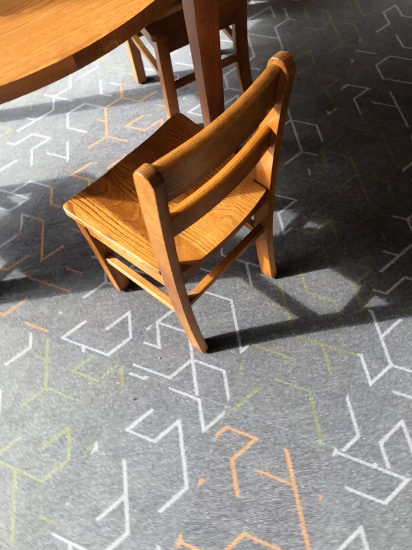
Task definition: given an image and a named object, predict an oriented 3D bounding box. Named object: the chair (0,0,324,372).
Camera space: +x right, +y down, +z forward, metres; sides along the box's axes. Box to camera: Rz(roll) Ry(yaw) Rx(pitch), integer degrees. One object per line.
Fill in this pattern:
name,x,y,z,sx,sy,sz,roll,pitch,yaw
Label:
chair,-0.073,-0.158,0.936,0.391,0.667,0.371,35,70,22
